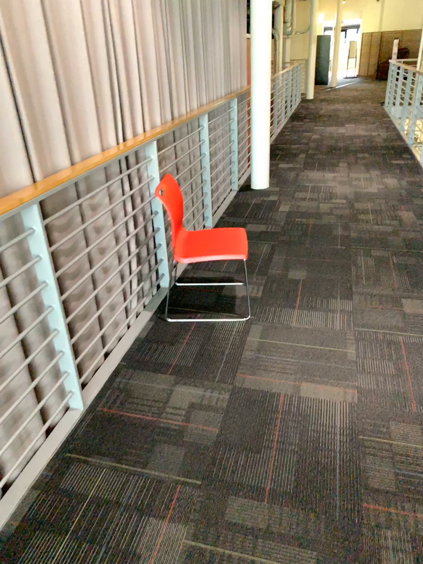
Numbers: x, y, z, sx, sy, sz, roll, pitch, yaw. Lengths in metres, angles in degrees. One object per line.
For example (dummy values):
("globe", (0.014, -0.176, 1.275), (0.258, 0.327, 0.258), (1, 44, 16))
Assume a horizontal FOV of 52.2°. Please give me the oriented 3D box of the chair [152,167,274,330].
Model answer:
("chair", (0.013, -0.233, 2.809), (0.660, 0.855, 0.634), (2, 28, 2))
